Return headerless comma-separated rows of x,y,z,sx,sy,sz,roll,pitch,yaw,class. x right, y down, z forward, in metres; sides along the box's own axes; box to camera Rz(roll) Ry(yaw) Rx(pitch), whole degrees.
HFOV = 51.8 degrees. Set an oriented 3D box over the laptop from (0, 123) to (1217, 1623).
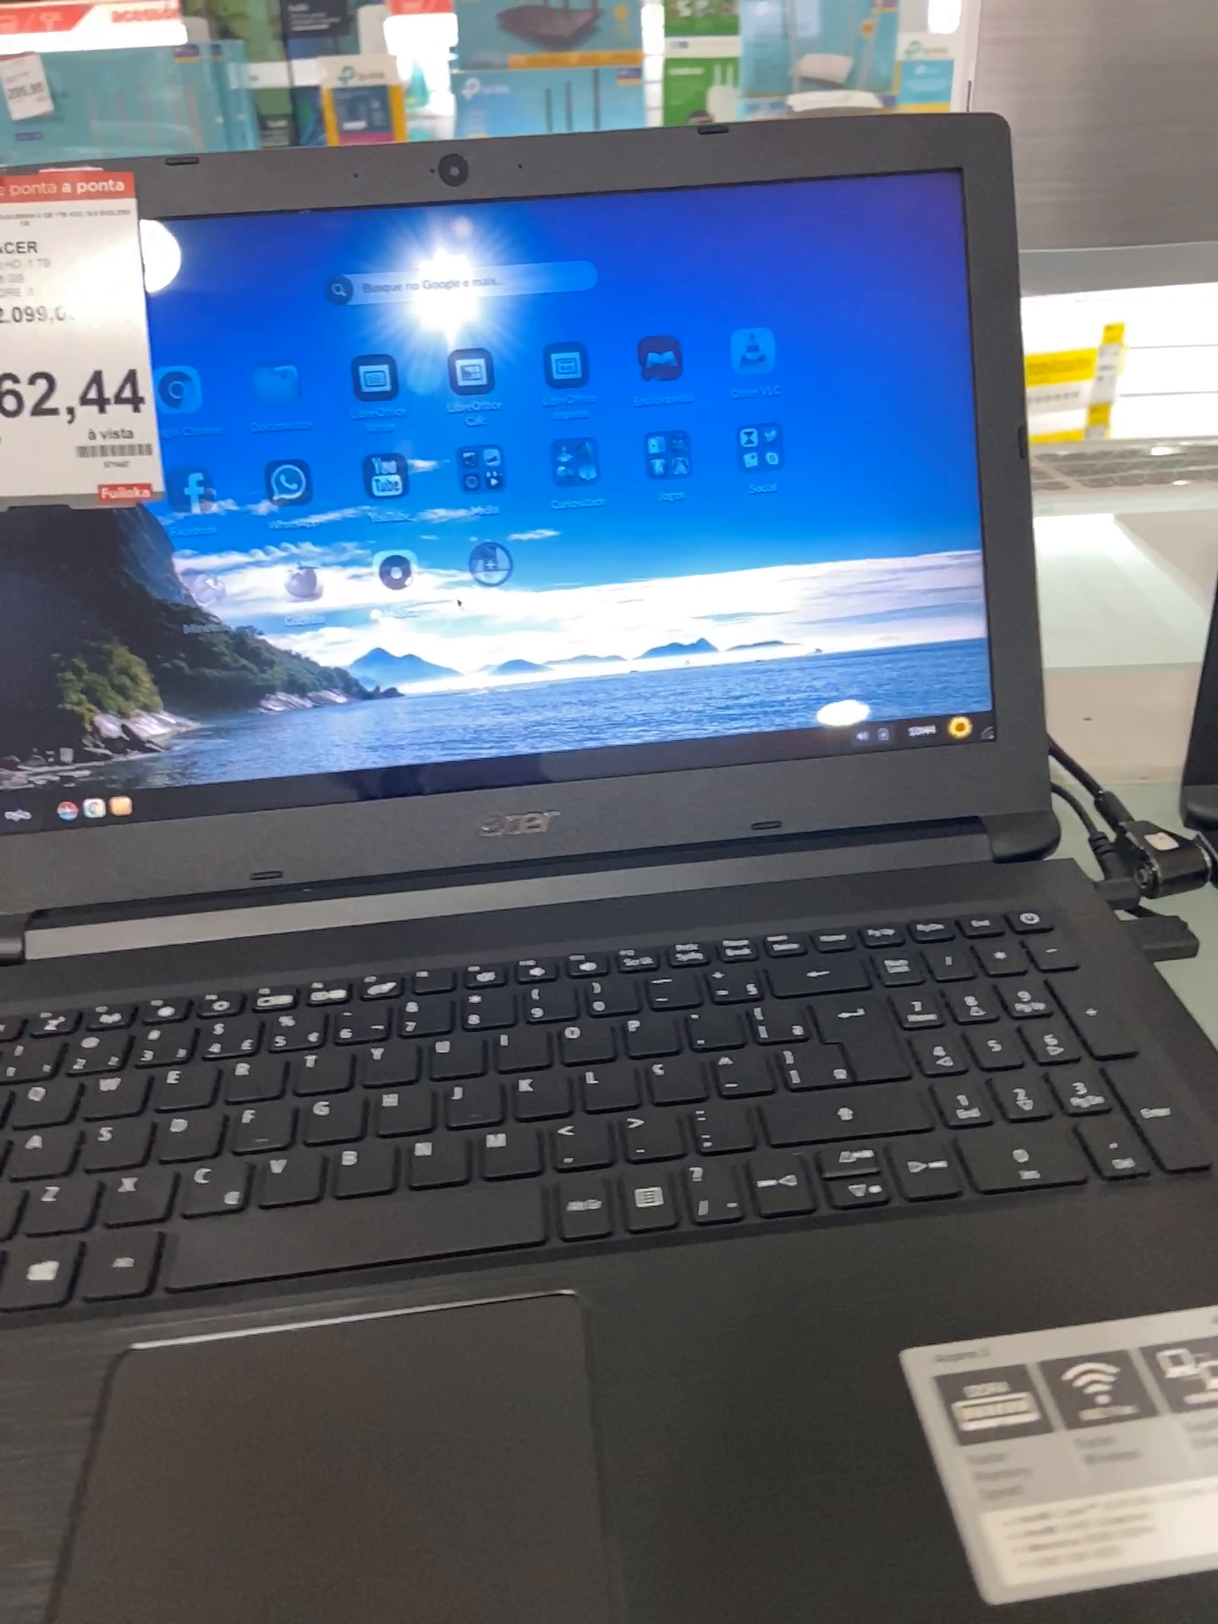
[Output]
-0.027,-0.030,0.321,0.389,0.226,0.377,-5,31,-4,laptop
